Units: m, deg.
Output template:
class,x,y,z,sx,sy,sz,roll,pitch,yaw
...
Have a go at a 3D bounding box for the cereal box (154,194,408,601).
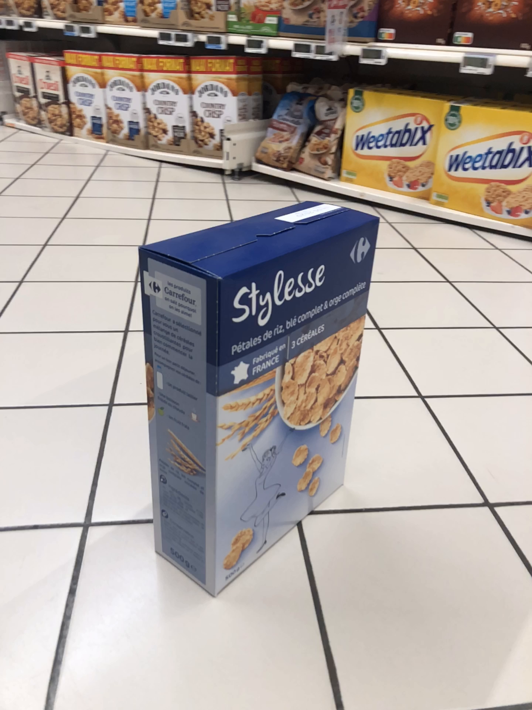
class,x,y,z,sx,sy,sz,roll,pitch,yaw
cereal box,0.014,0.026,0.501,0.080,0.278,0.211,23,34,31
